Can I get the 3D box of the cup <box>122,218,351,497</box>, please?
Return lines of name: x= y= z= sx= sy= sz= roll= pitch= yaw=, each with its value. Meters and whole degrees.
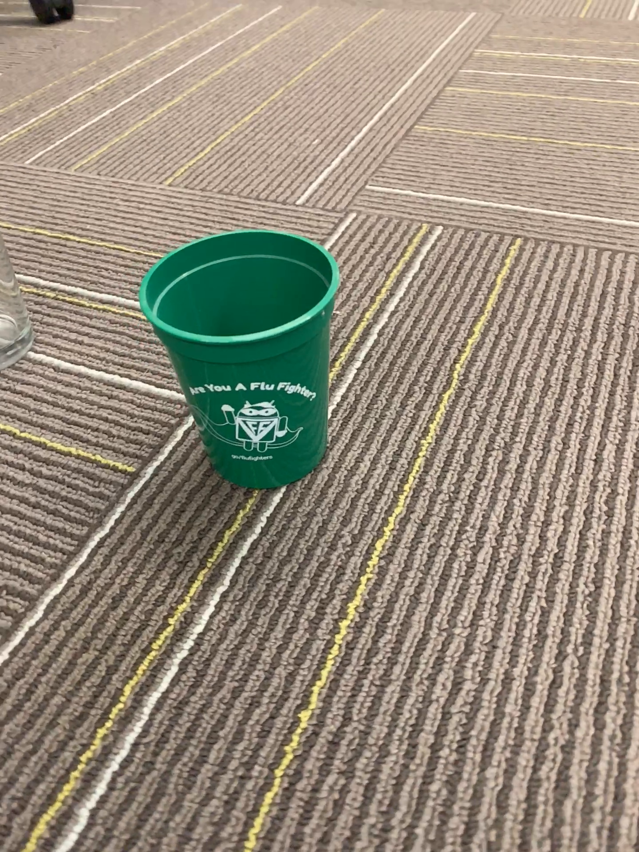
cup: x=-0.032 y=-0.032 z=0.344 sx=0.090 sy=0.119 sz=0.080 roll=0 pitch=45 yaw=5
